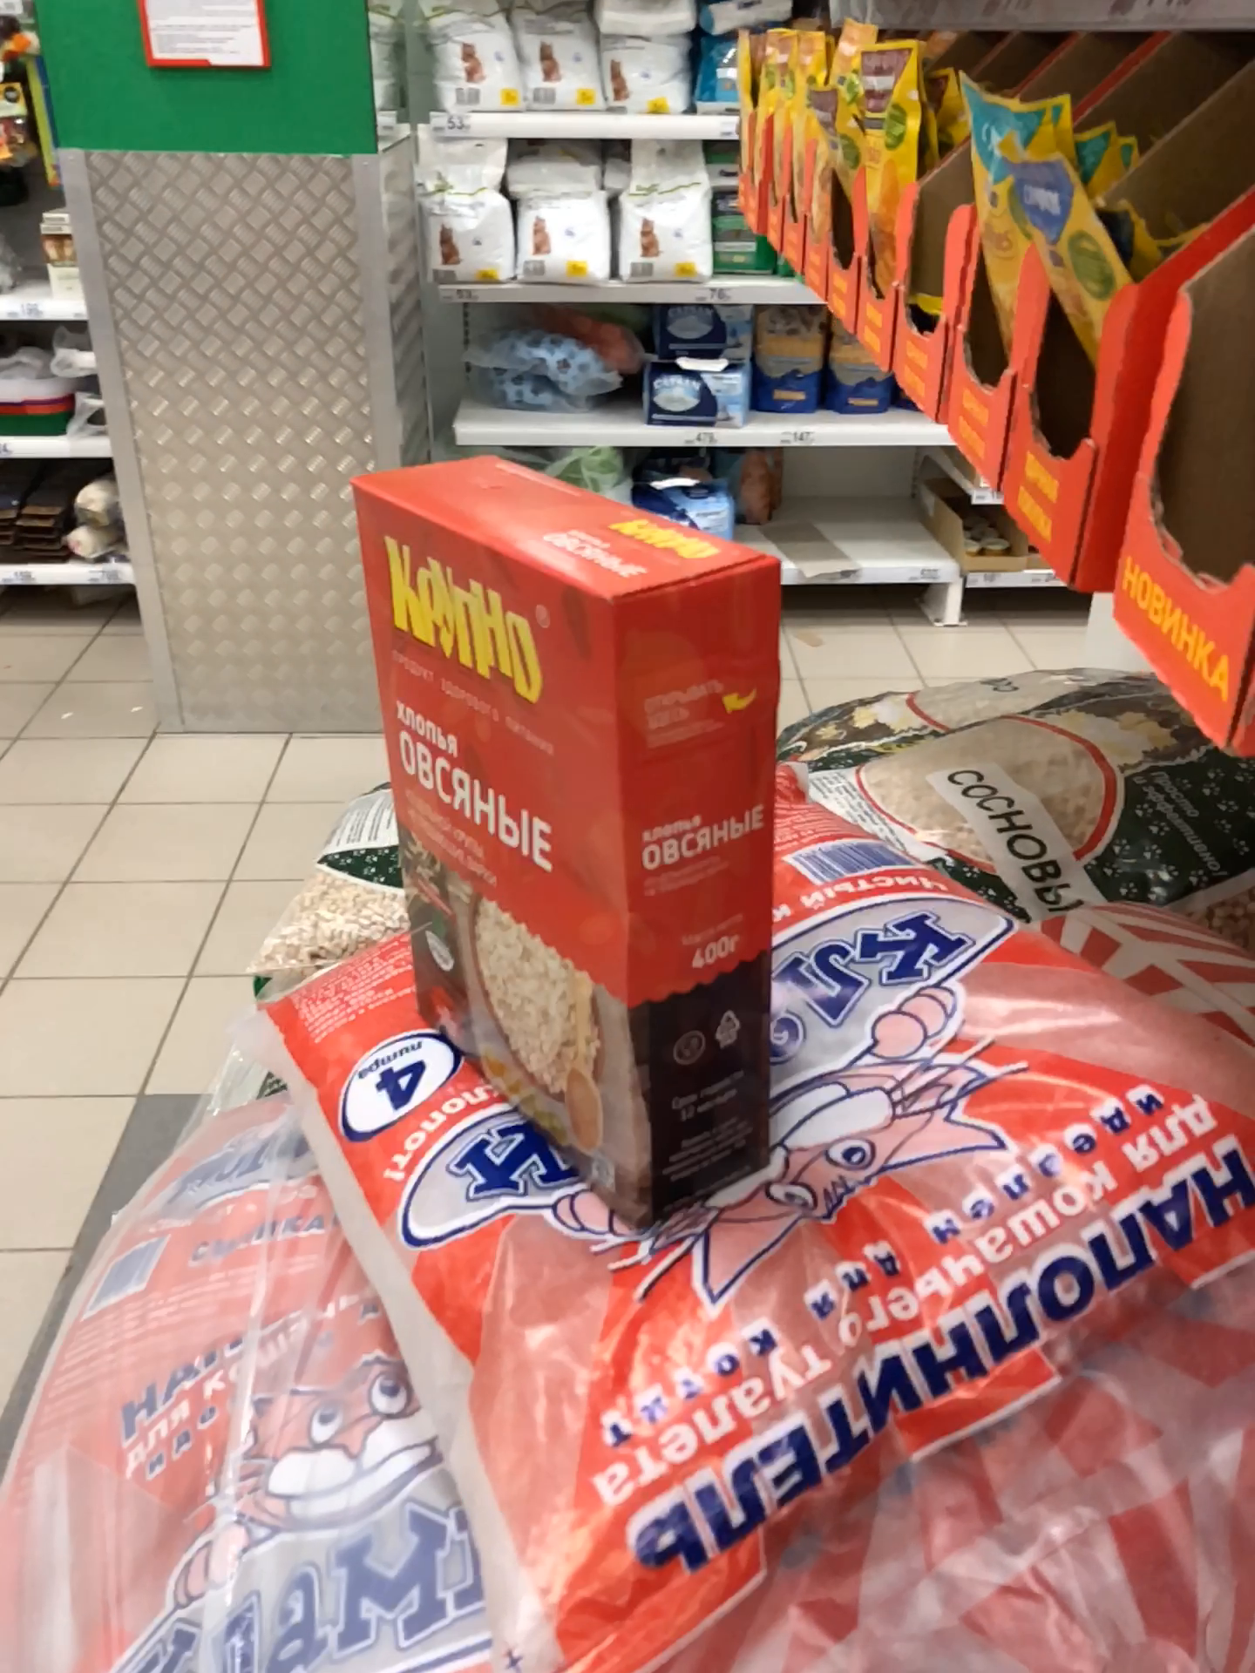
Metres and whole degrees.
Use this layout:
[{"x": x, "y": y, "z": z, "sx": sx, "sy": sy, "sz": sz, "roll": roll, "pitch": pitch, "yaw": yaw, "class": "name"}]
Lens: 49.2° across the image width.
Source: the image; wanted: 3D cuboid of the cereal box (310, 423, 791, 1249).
[{"x": -0.025, "y": -0.007, "z": 0.416, "sx": 0.060, "sy": 0.199, "sz": 0.151, "roll": -19, "pitch": 33, "yaw": -29, "class": "cereal box"}]
